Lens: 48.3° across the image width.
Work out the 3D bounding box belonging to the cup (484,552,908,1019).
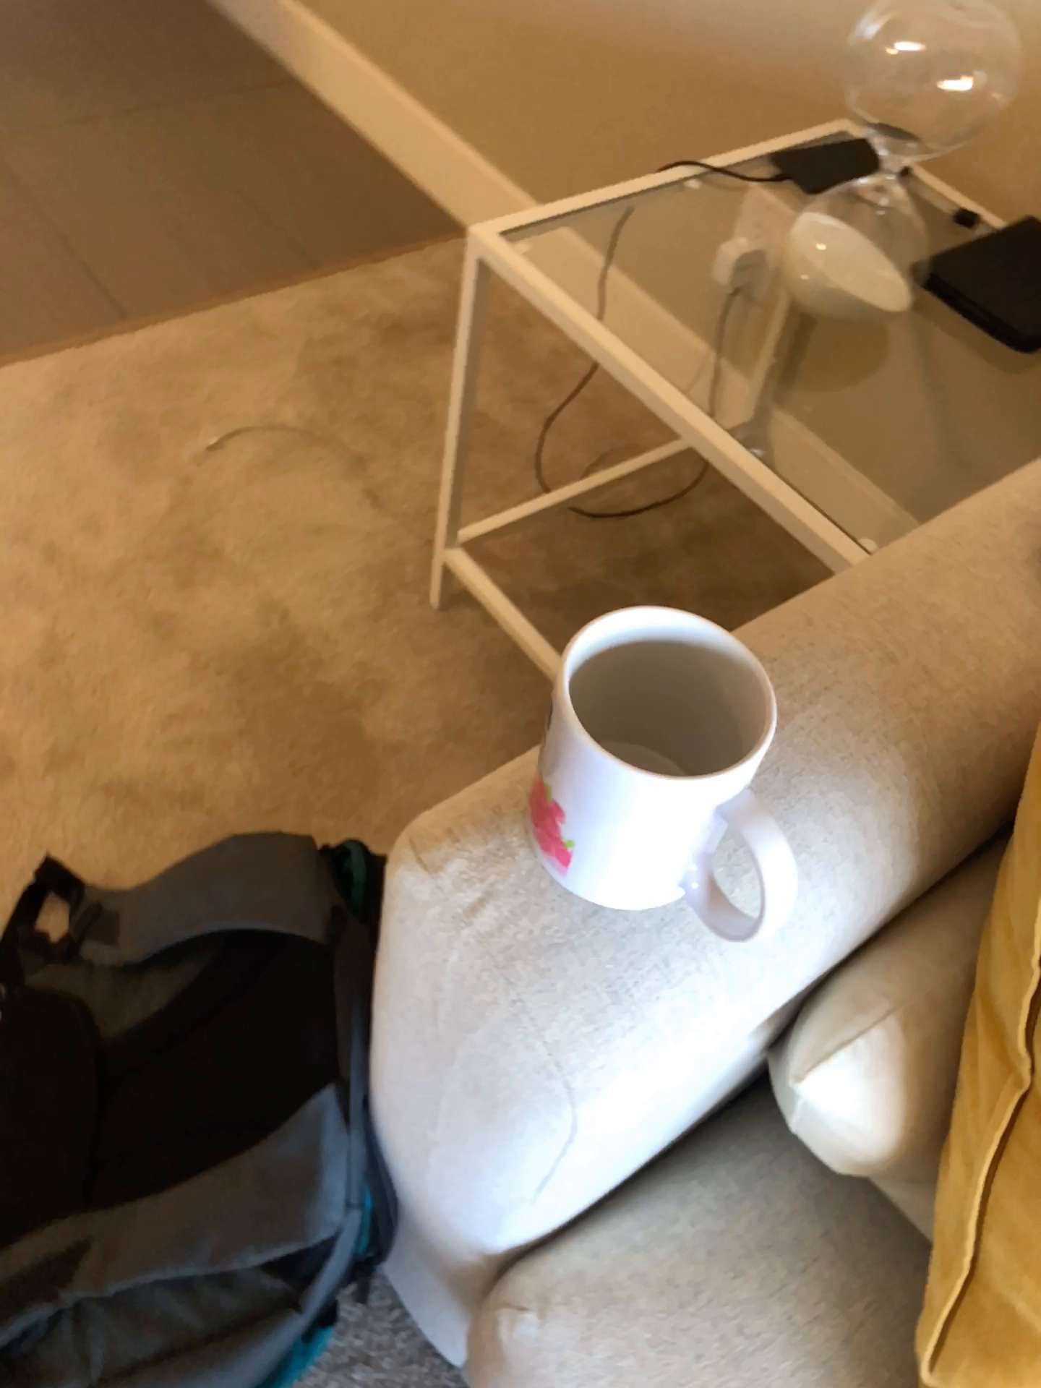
[{"bbox_3d":[0.057,0.033,0.435,0.080,0.100,0.120,-22,59,-25],"label":"cup"}]
